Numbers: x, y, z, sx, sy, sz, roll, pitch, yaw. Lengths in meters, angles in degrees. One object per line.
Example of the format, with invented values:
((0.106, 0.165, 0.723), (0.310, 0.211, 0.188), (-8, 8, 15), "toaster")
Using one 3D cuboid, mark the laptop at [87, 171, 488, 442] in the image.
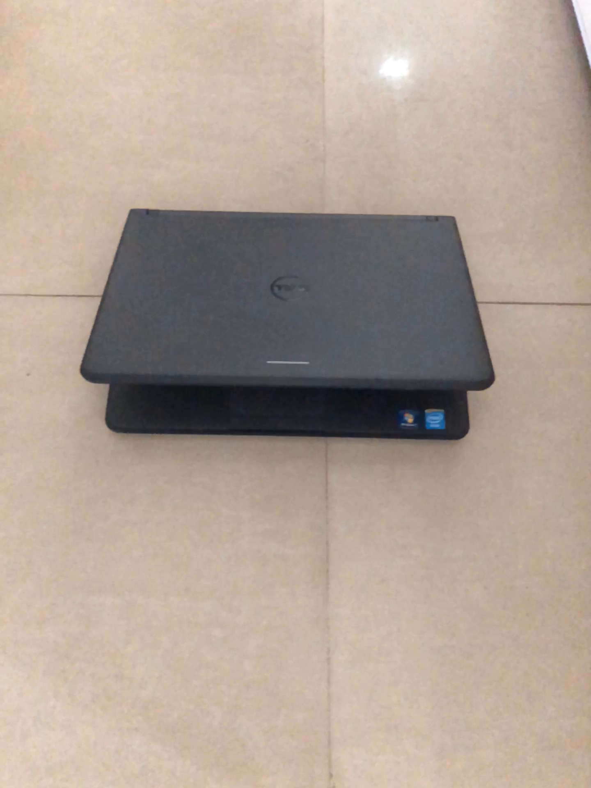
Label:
((-0.003, -0.079, 0.574), (0.314, 0.064, 0.221), (1, 71, 1), "laptop")
